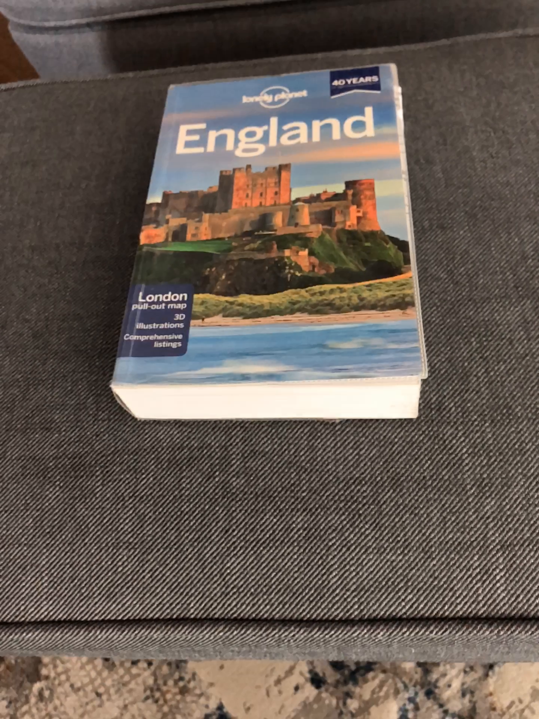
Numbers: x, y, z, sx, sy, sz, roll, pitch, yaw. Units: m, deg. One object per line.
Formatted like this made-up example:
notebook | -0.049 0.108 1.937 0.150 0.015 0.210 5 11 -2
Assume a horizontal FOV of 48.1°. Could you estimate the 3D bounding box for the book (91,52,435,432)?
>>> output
book | 0.002 -0.066 0.301 0.135 0.040 0.200 -3 59 10
